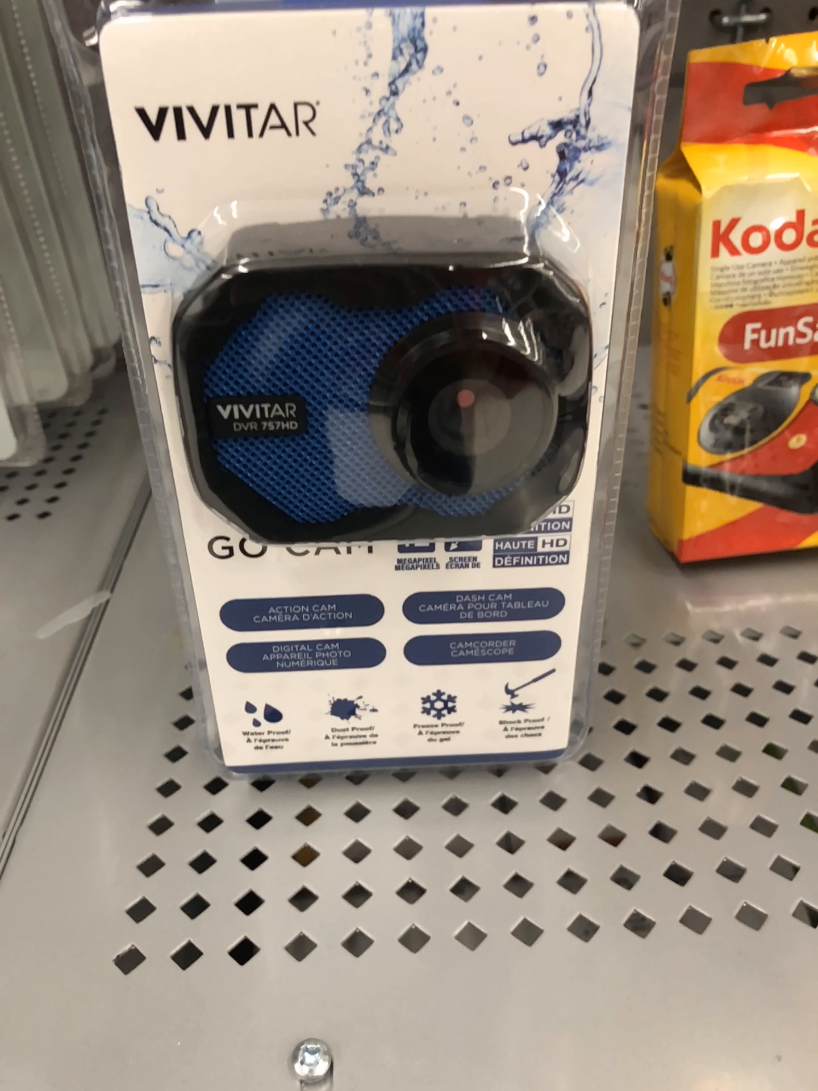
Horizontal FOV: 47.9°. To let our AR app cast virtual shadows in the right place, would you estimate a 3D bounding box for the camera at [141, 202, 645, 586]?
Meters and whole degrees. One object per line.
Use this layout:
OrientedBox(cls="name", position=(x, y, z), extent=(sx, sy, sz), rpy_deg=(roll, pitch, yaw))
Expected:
OrientedBox(cls="camera", position=(-0.002, -0.027, 0.158), extent=(0.070, 0.050, 0.040), rpy_deg=(-3, 32, 0))
